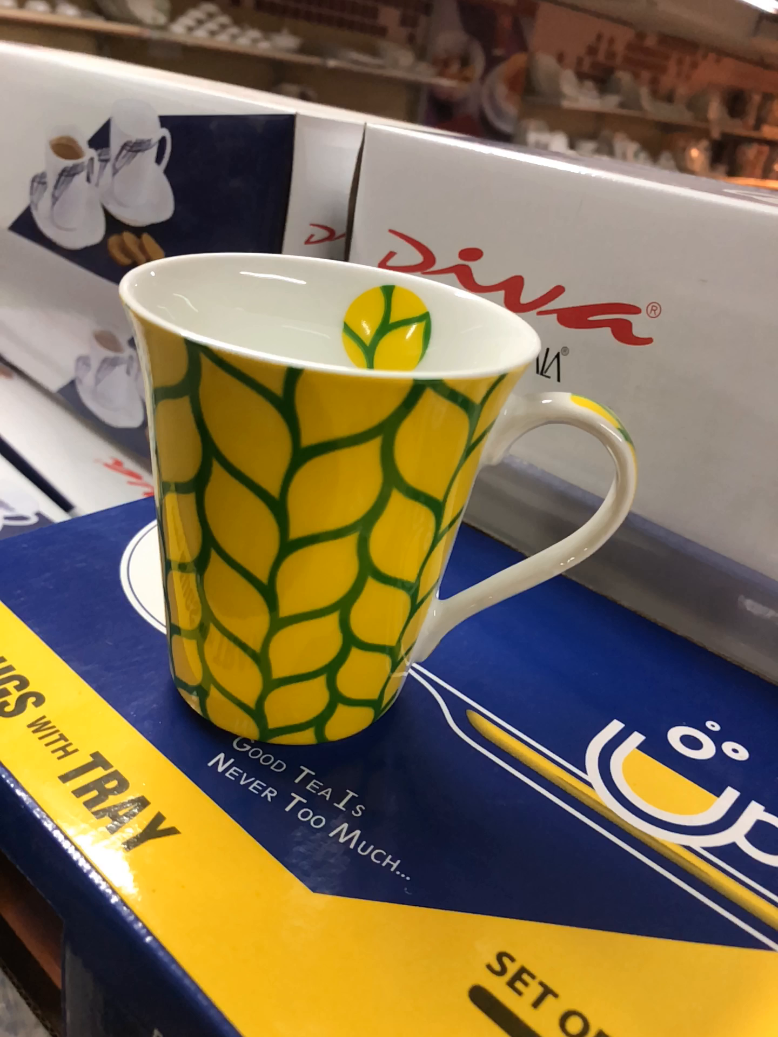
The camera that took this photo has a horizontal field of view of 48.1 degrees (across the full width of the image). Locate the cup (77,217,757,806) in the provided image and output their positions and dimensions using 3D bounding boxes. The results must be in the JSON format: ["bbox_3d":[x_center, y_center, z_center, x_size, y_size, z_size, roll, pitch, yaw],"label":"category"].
[{"bbox_3d":[0.000,-0.006,0.195,0.110,0.089,0.080,9,27,-2],"label":"cup"}]
